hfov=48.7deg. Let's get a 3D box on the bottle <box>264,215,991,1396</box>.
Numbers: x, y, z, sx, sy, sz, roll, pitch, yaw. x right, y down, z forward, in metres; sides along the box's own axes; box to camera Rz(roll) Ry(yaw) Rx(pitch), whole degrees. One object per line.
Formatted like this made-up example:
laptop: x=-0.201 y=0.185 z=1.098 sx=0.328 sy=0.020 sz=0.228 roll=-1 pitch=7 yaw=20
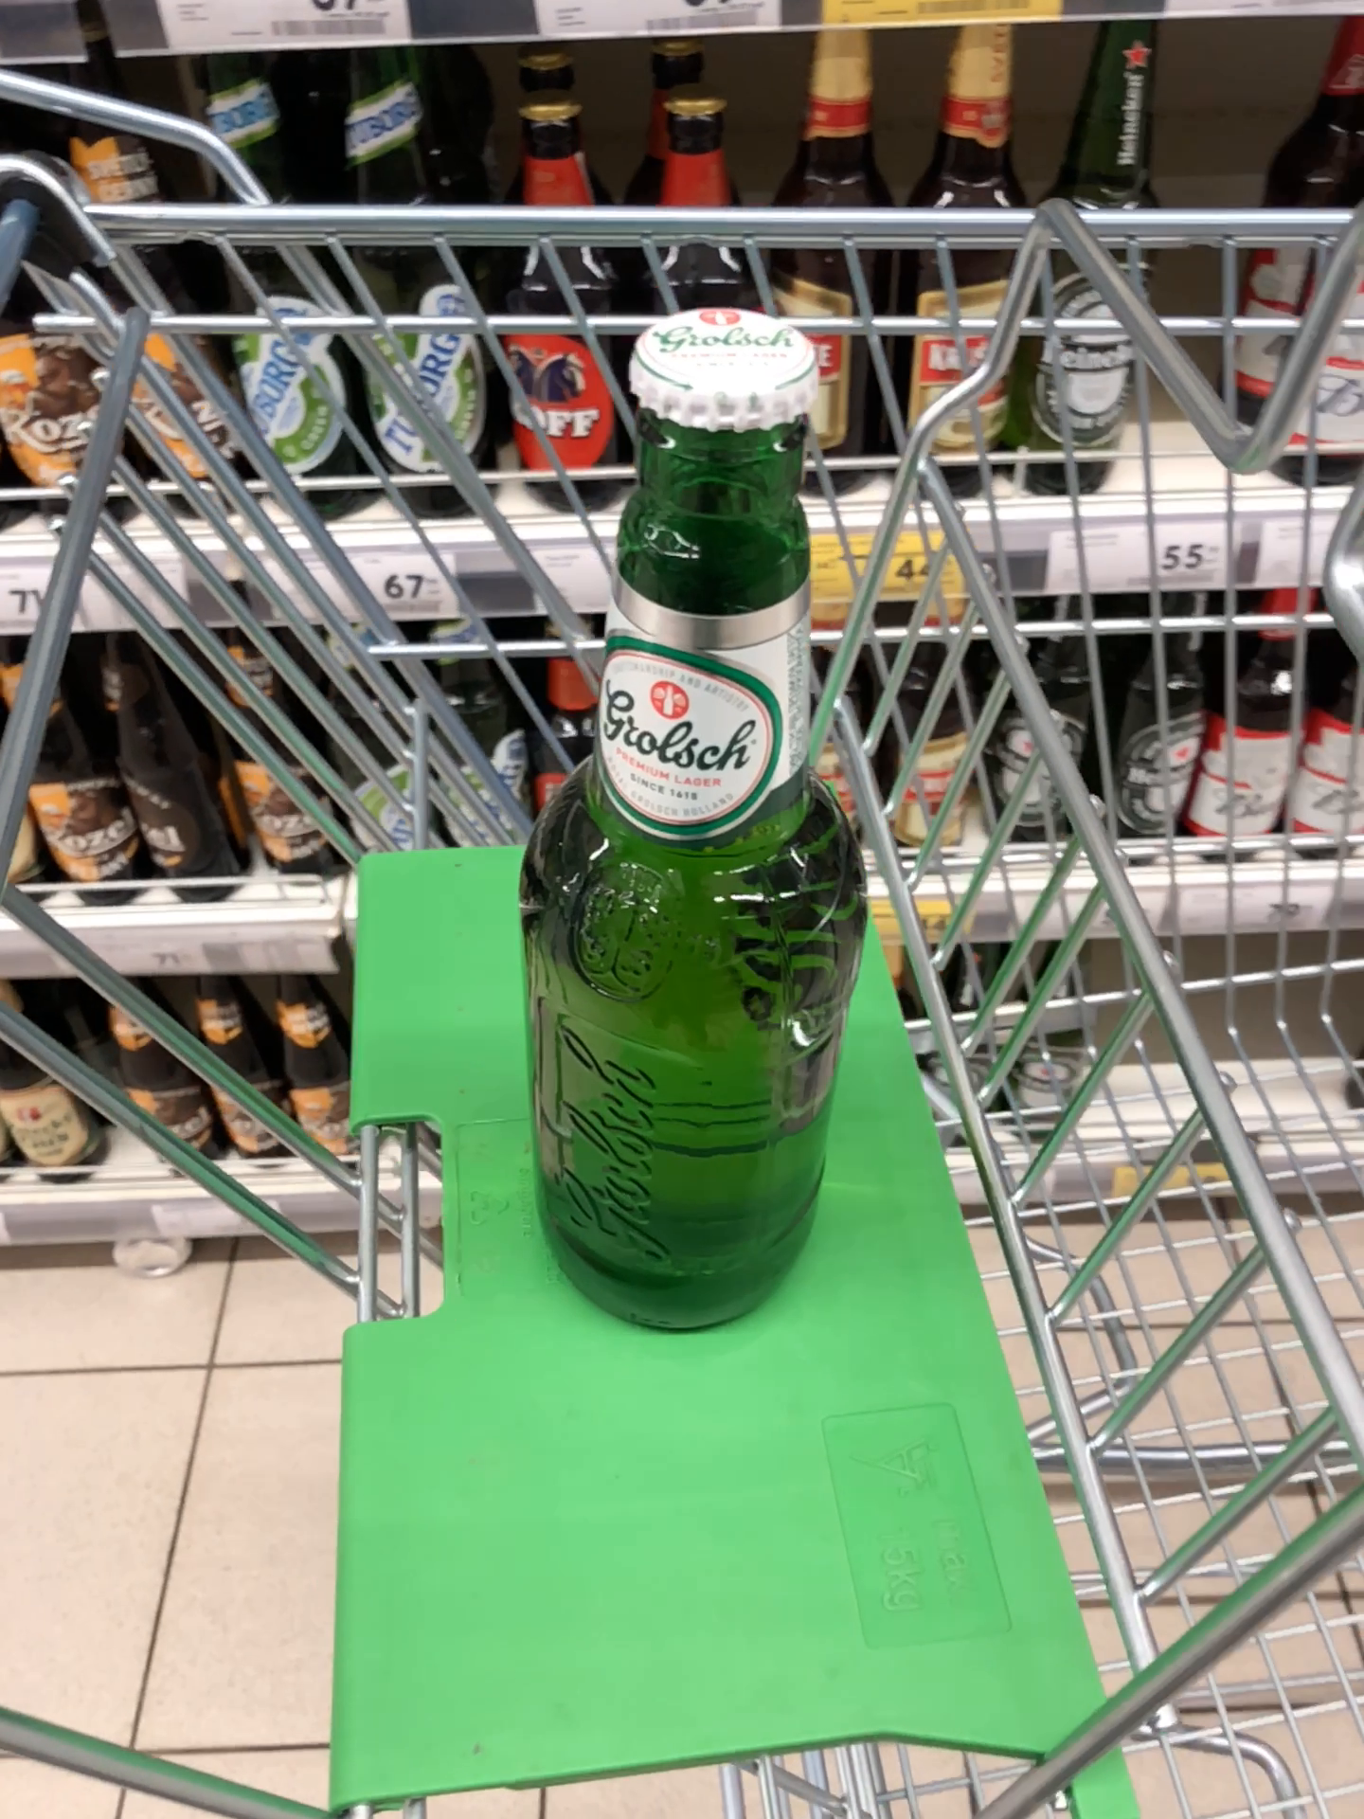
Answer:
bottle: x=-0.002 y=-0.004 z=0.297 sx=0.080 sy=0.219 sz=0.080 roll=-1 pitch=46 yaw=1
